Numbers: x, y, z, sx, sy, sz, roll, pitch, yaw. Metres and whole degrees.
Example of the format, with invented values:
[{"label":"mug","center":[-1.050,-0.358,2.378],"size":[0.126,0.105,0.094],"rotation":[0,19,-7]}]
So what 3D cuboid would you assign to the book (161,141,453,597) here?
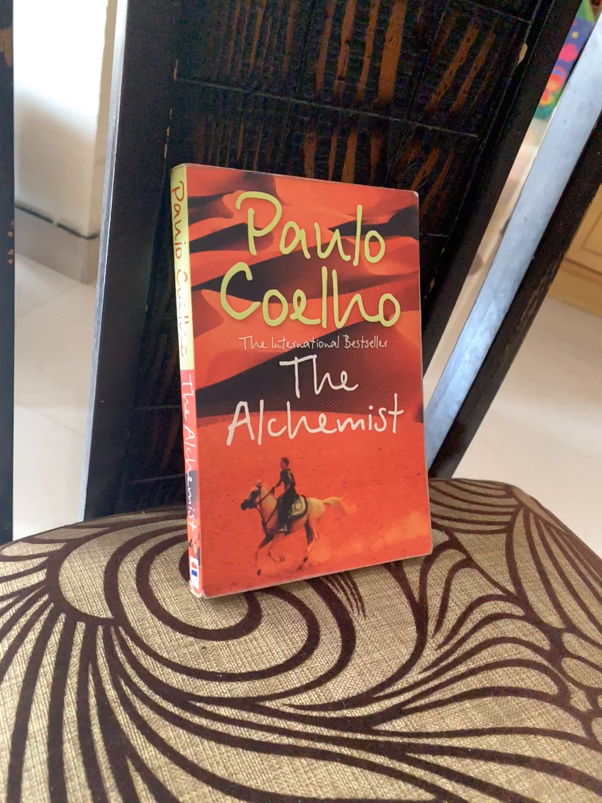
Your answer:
[{"label":"book","center":[0.007,-0.018,0.318],"size":[0.140,0.200,0.030],"rotation":[-2,-2,-27]}]
